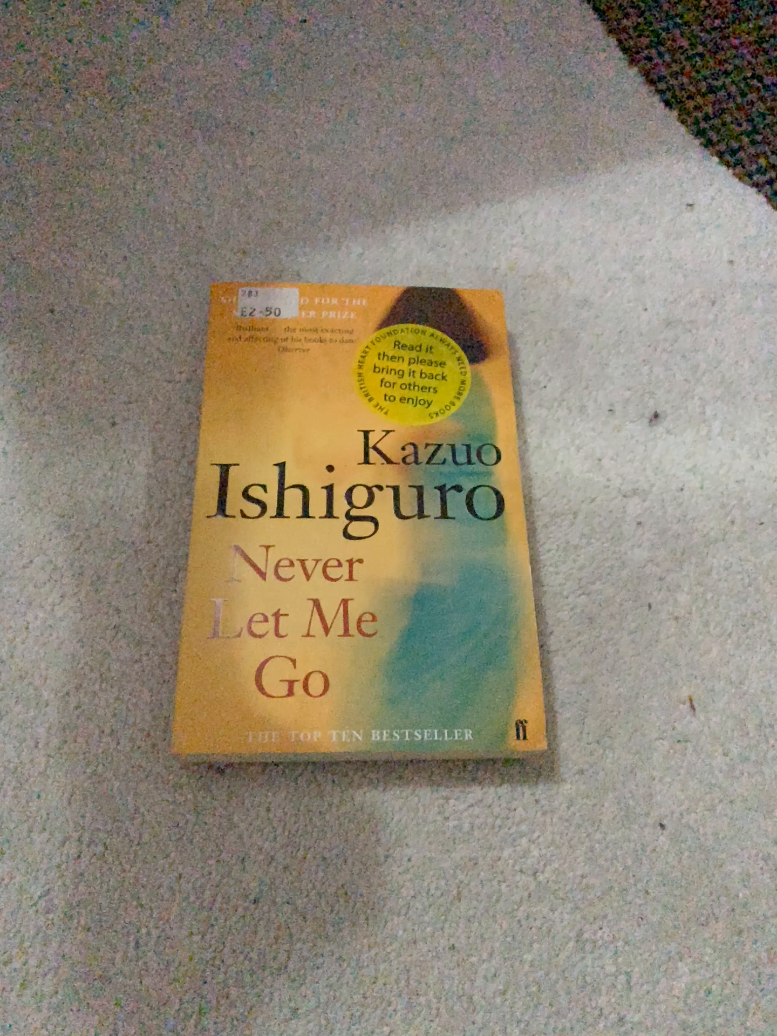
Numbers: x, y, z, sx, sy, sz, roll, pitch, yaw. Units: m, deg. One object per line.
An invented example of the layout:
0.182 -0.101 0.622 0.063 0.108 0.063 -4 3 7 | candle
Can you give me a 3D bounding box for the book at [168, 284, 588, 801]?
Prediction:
-0.005 -0.001 0.319 0.140 0.020 0.211 1 66 -4 | book
